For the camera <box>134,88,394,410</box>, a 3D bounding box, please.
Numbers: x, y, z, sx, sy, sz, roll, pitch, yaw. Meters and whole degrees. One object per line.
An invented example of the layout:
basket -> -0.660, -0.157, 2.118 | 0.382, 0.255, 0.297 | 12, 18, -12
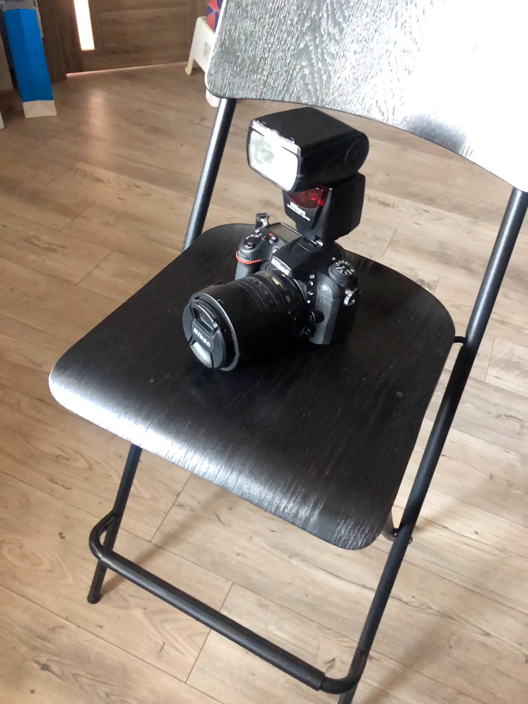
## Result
camera -> -0.001, -0.095, 0.538 | 0.168, 0.217, 0.125 | -31, 53, -30
